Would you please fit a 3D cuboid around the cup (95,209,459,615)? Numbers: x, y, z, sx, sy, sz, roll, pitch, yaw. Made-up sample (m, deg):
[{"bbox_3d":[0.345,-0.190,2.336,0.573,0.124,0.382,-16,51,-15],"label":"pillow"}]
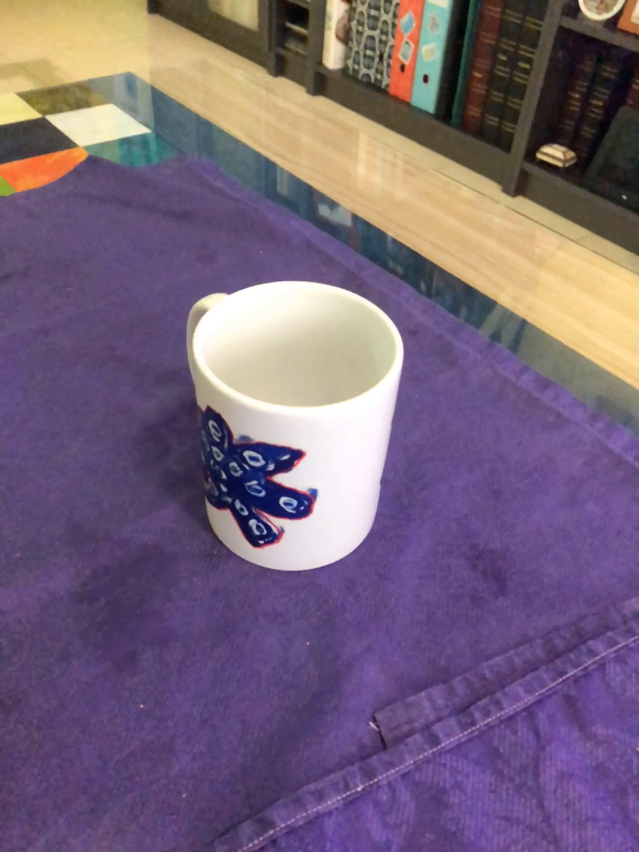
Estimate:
[{"bbox_3d":[-0.023,-0.013,0.297,0.080,0.090,0.130,-23,50,-26],"label":"cup"}]
